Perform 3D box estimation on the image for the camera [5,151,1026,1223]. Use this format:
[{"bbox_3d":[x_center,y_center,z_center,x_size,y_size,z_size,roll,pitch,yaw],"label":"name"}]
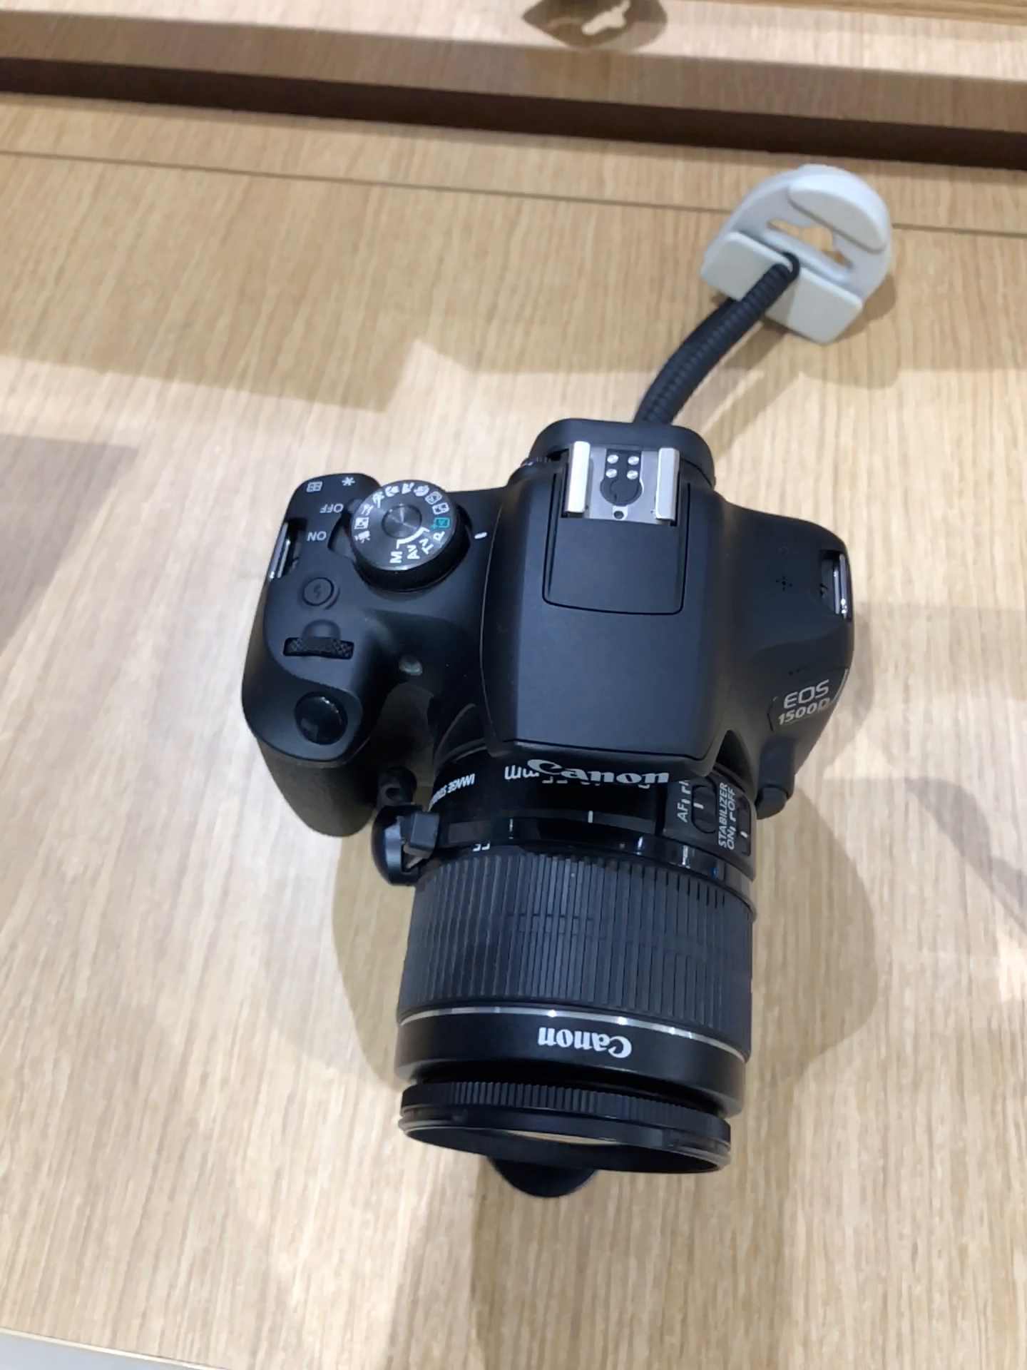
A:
[{"bbox_3d":[0.010,-0.003,0.237,0.140,0.100,0.191,3,61,3],"label":"camera"}]
